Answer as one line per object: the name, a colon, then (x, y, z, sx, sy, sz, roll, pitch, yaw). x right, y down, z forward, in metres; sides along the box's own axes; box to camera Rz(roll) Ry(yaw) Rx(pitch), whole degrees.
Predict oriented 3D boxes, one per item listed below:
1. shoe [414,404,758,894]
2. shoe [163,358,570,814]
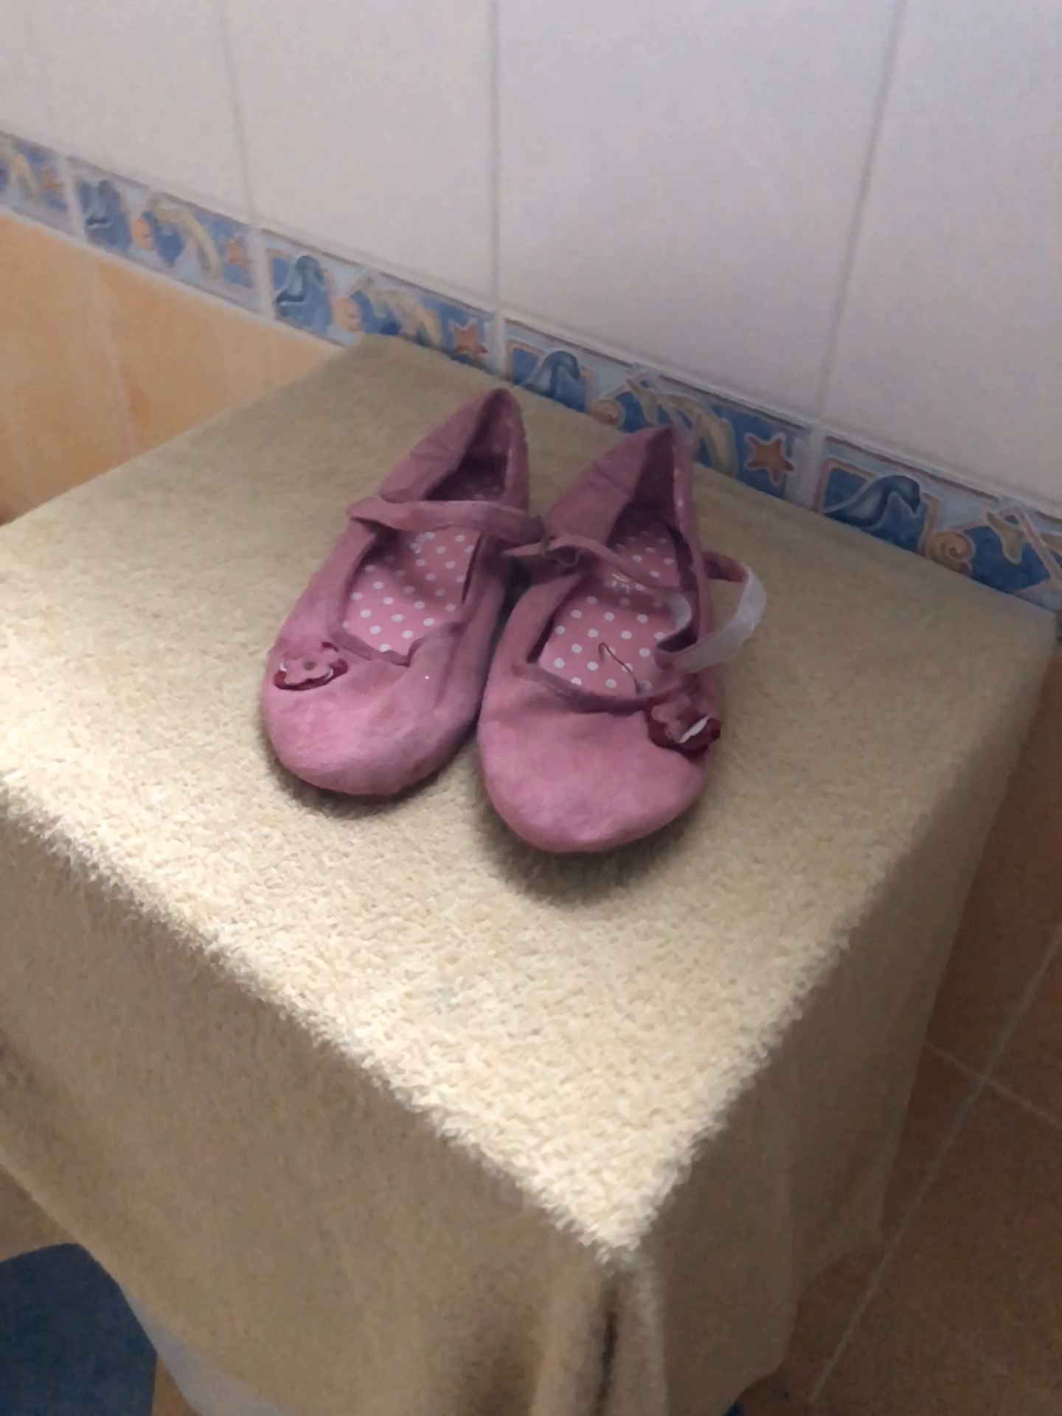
shoe: (0.034, -0.041, 0.485, 0.100, 0.050, 0.241, 8, 43, 8)
shoe: (-0.055, -0.067, 0.500, 0.100, 0.050, 0.241, 8, 43, 8)
